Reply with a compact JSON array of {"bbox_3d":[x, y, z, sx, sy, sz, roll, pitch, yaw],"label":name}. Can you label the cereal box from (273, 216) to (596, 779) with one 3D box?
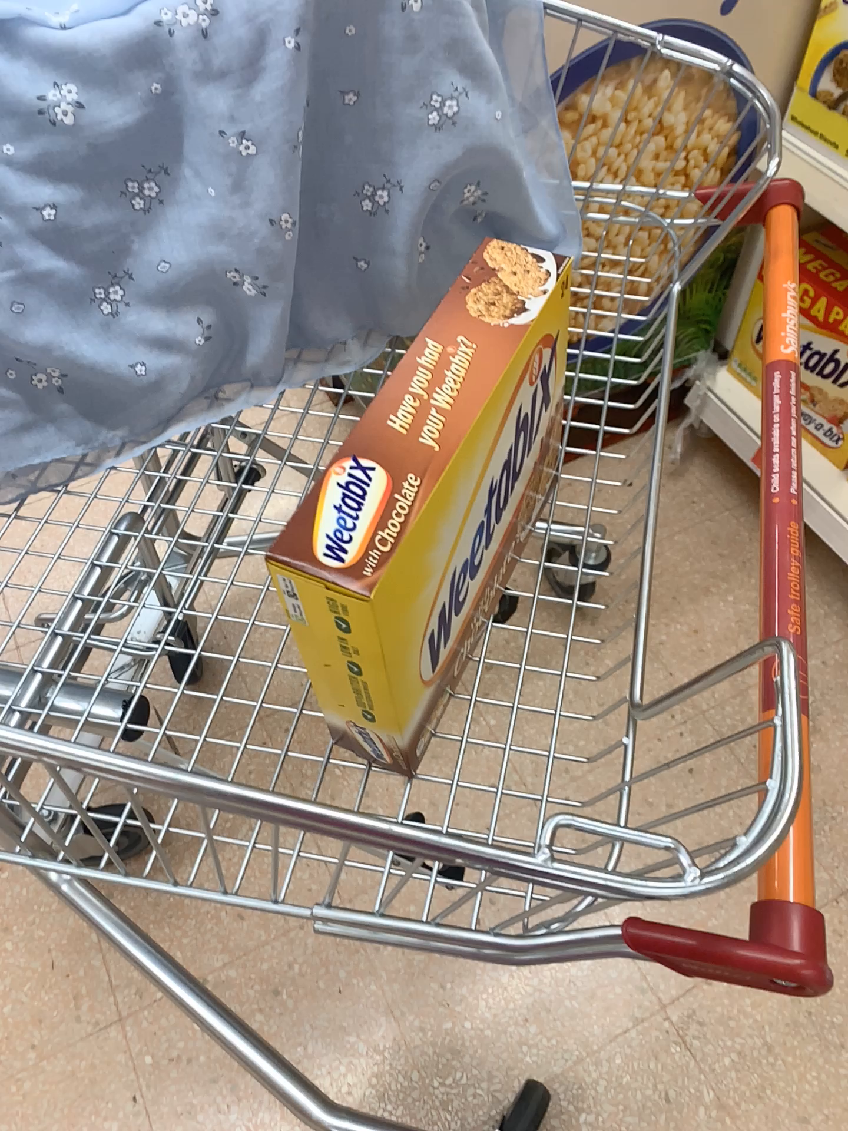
[{"bbox_3d":[0.020,-0.040,0.487,0.060,0.188,0.252,18,55,16],"label":"cereal box"}]
